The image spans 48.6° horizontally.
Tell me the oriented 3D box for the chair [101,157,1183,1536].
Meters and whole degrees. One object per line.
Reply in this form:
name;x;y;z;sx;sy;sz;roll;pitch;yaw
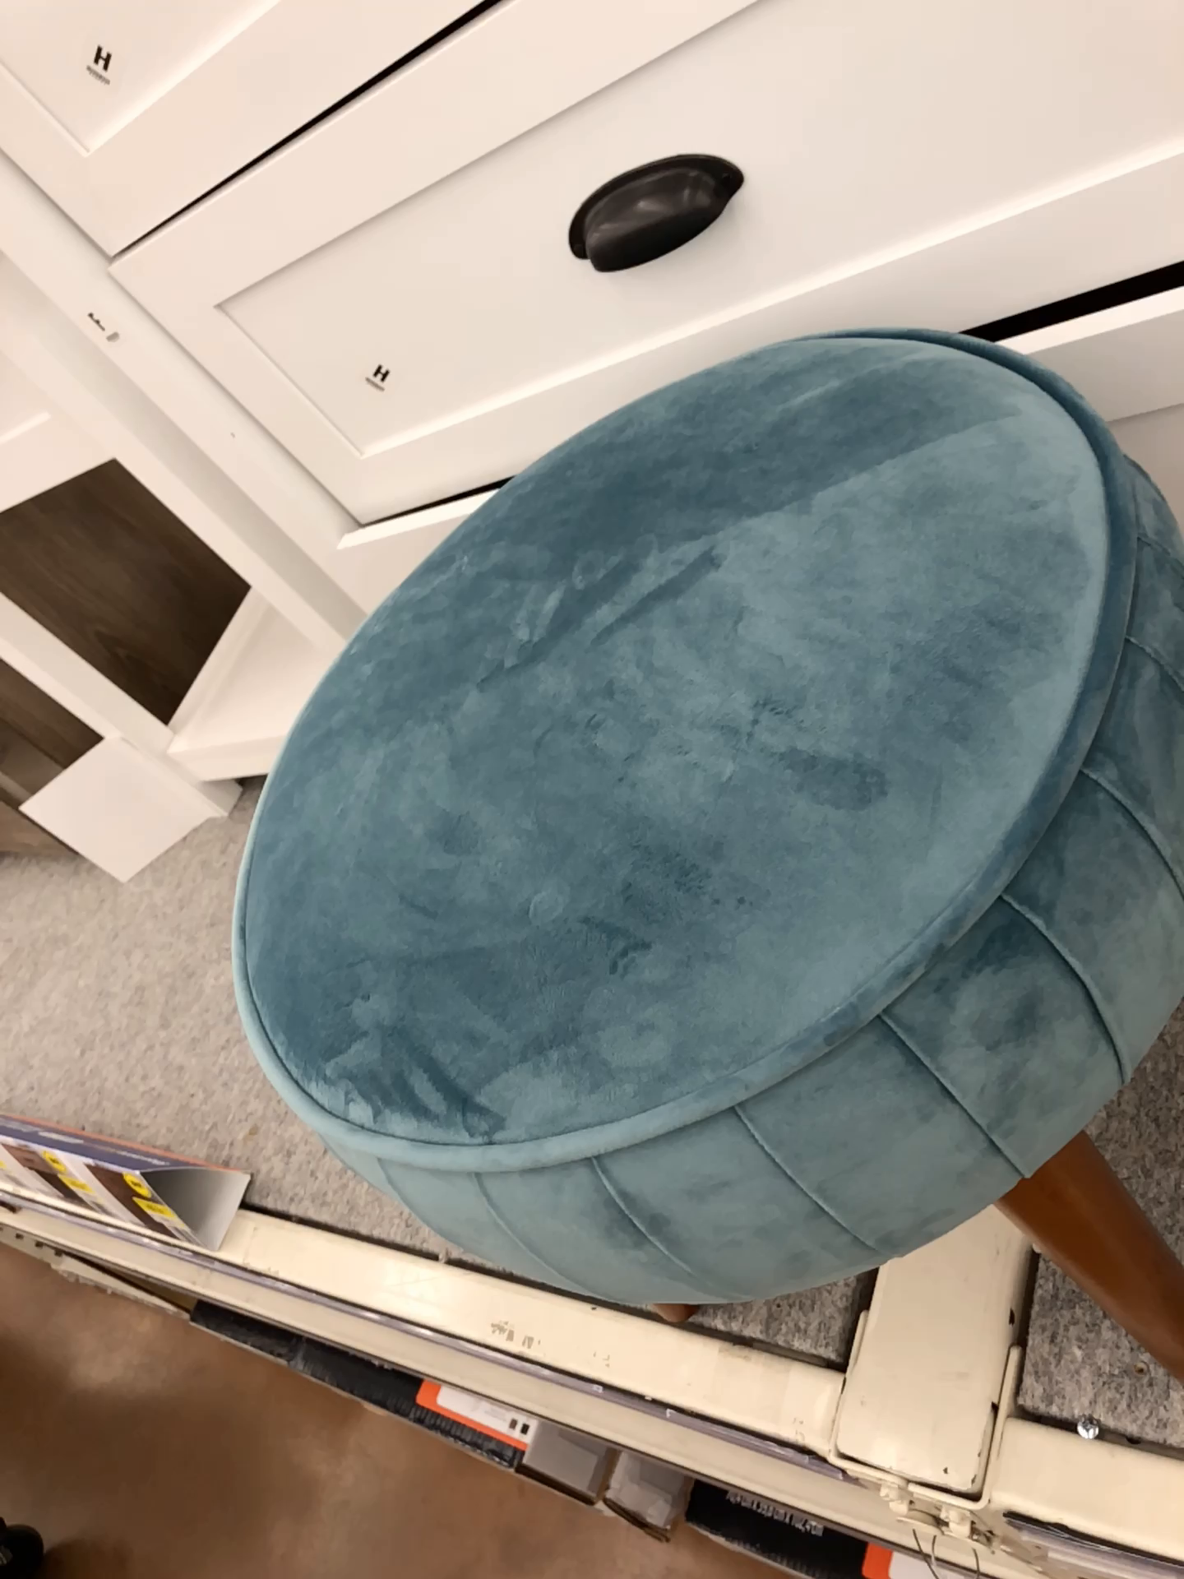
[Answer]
chair;0.111;0.047;0.627;0.372;0.398;0.370;-3;52;41
